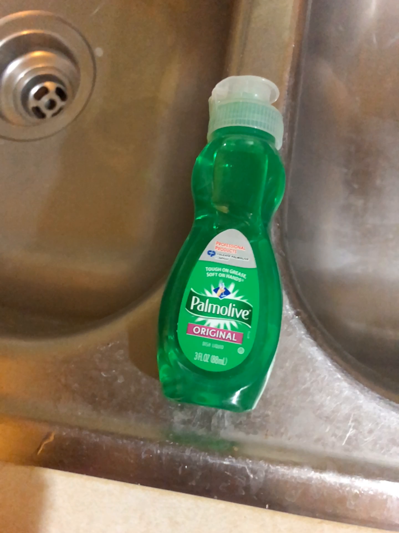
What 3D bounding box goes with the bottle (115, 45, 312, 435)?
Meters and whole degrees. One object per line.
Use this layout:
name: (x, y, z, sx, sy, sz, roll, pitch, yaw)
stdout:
bottle: (0.008, -0.012, 0.167, 0.050, 0.030, 0.130, 7, 81, 5)
